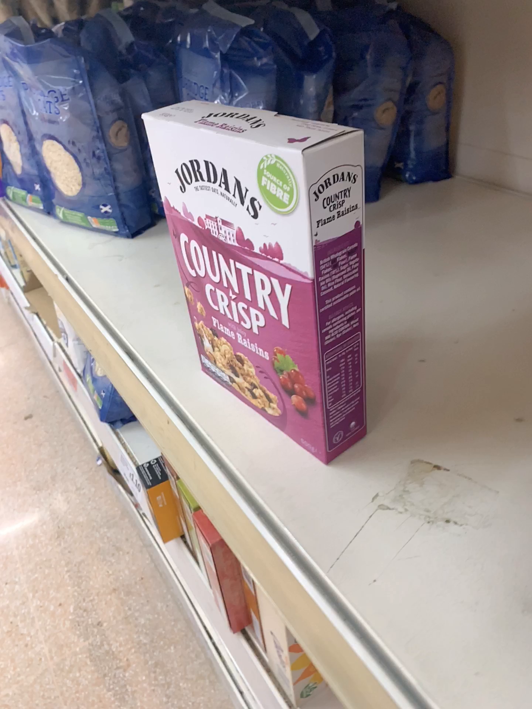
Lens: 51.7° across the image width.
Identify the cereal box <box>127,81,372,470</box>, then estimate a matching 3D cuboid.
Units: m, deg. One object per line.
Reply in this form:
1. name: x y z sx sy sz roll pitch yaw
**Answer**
1. cereal box: -0.009 -0.062 0.421 0.050 0.248 0.191 -30 41 -28
